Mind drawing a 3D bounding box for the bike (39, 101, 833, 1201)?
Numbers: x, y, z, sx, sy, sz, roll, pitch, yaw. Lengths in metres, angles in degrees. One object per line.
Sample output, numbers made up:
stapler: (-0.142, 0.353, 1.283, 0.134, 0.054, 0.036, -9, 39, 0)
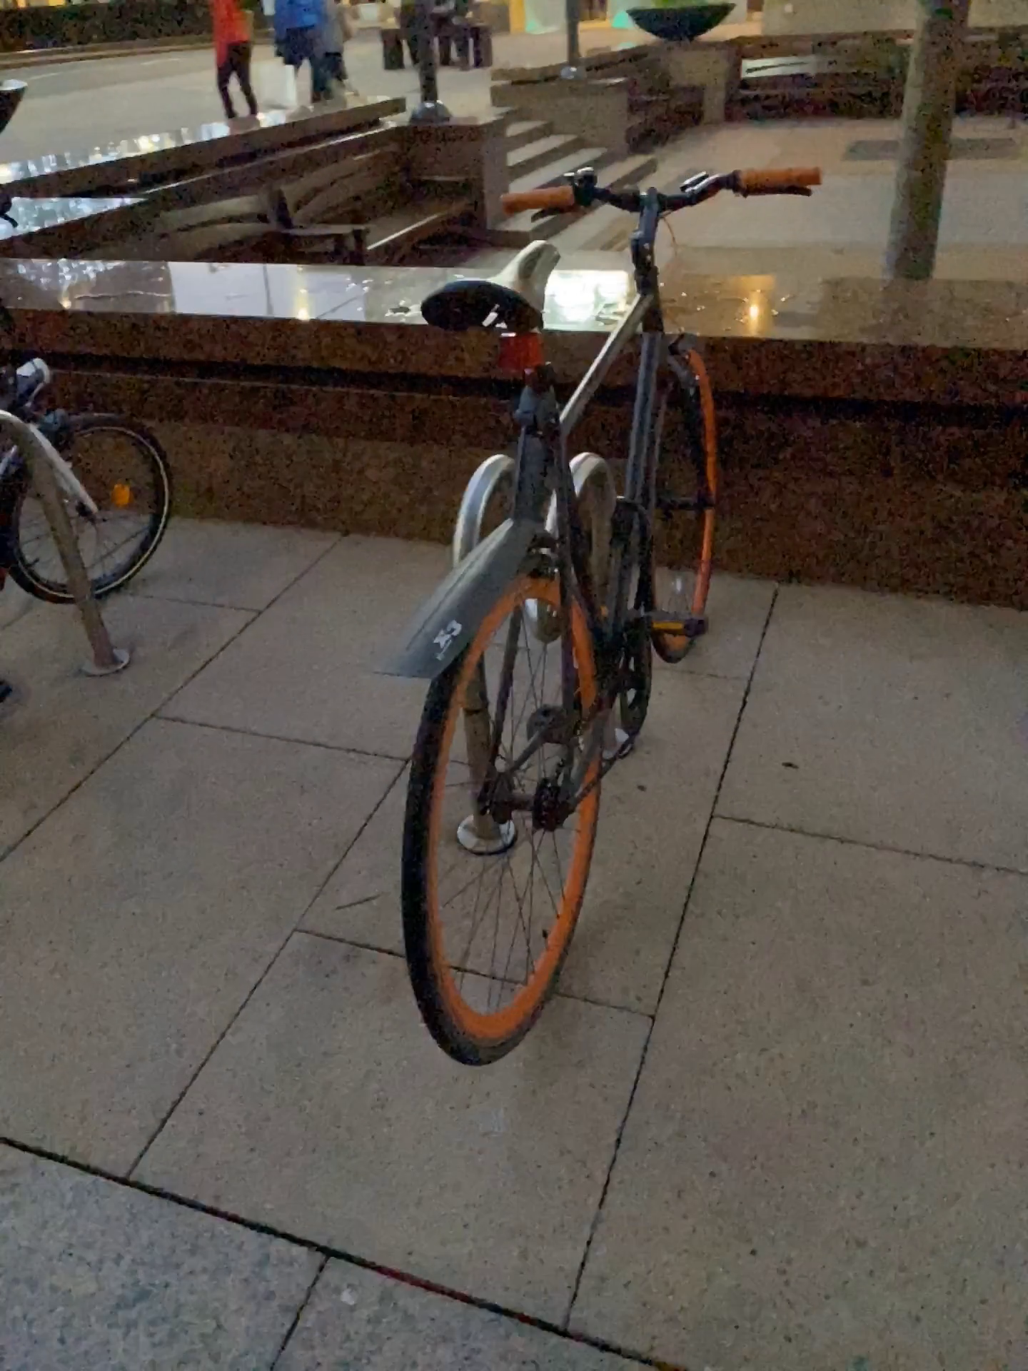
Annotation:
bike: (0.123, -0.285, 1.726, 0.524, 0.981, 1.648, 8, 36, 18)
